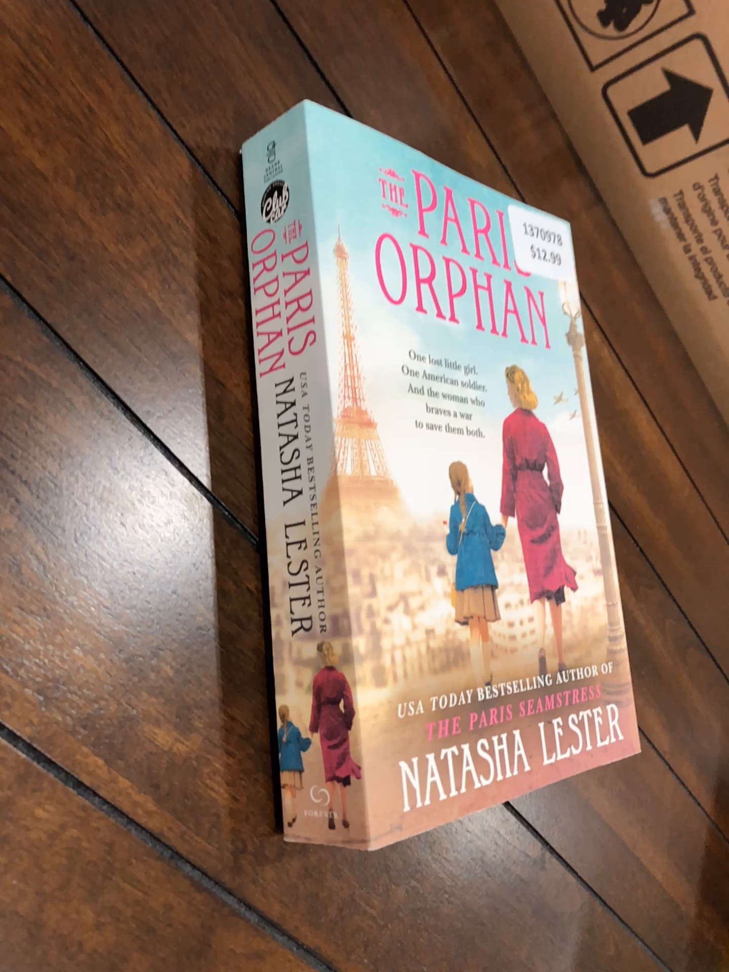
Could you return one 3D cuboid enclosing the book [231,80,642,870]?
[{"bbox_3d":[0.027,-0.003,0.259,0.135,0.035,0.198,5,77,-43],"label":"book"}]
